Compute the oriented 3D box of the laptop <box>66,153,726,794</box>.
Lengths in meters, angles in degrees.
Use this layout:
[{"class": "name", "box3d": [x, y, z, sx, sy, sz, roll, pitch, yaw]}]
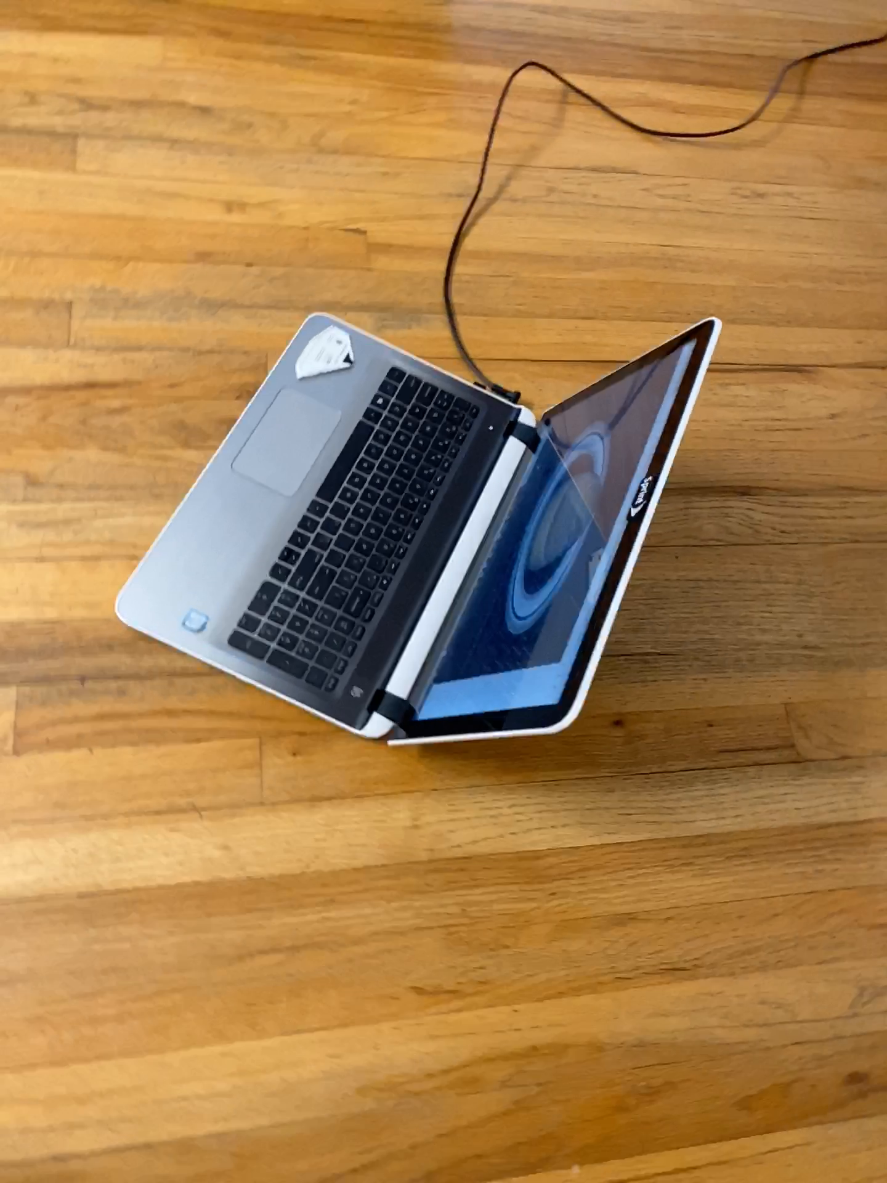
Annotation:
[{"class": "laptop", "box3d": [-0.026, -0.098, 0.751, 0.363, 0.202, 0.372, 25, 64, 2]}]
